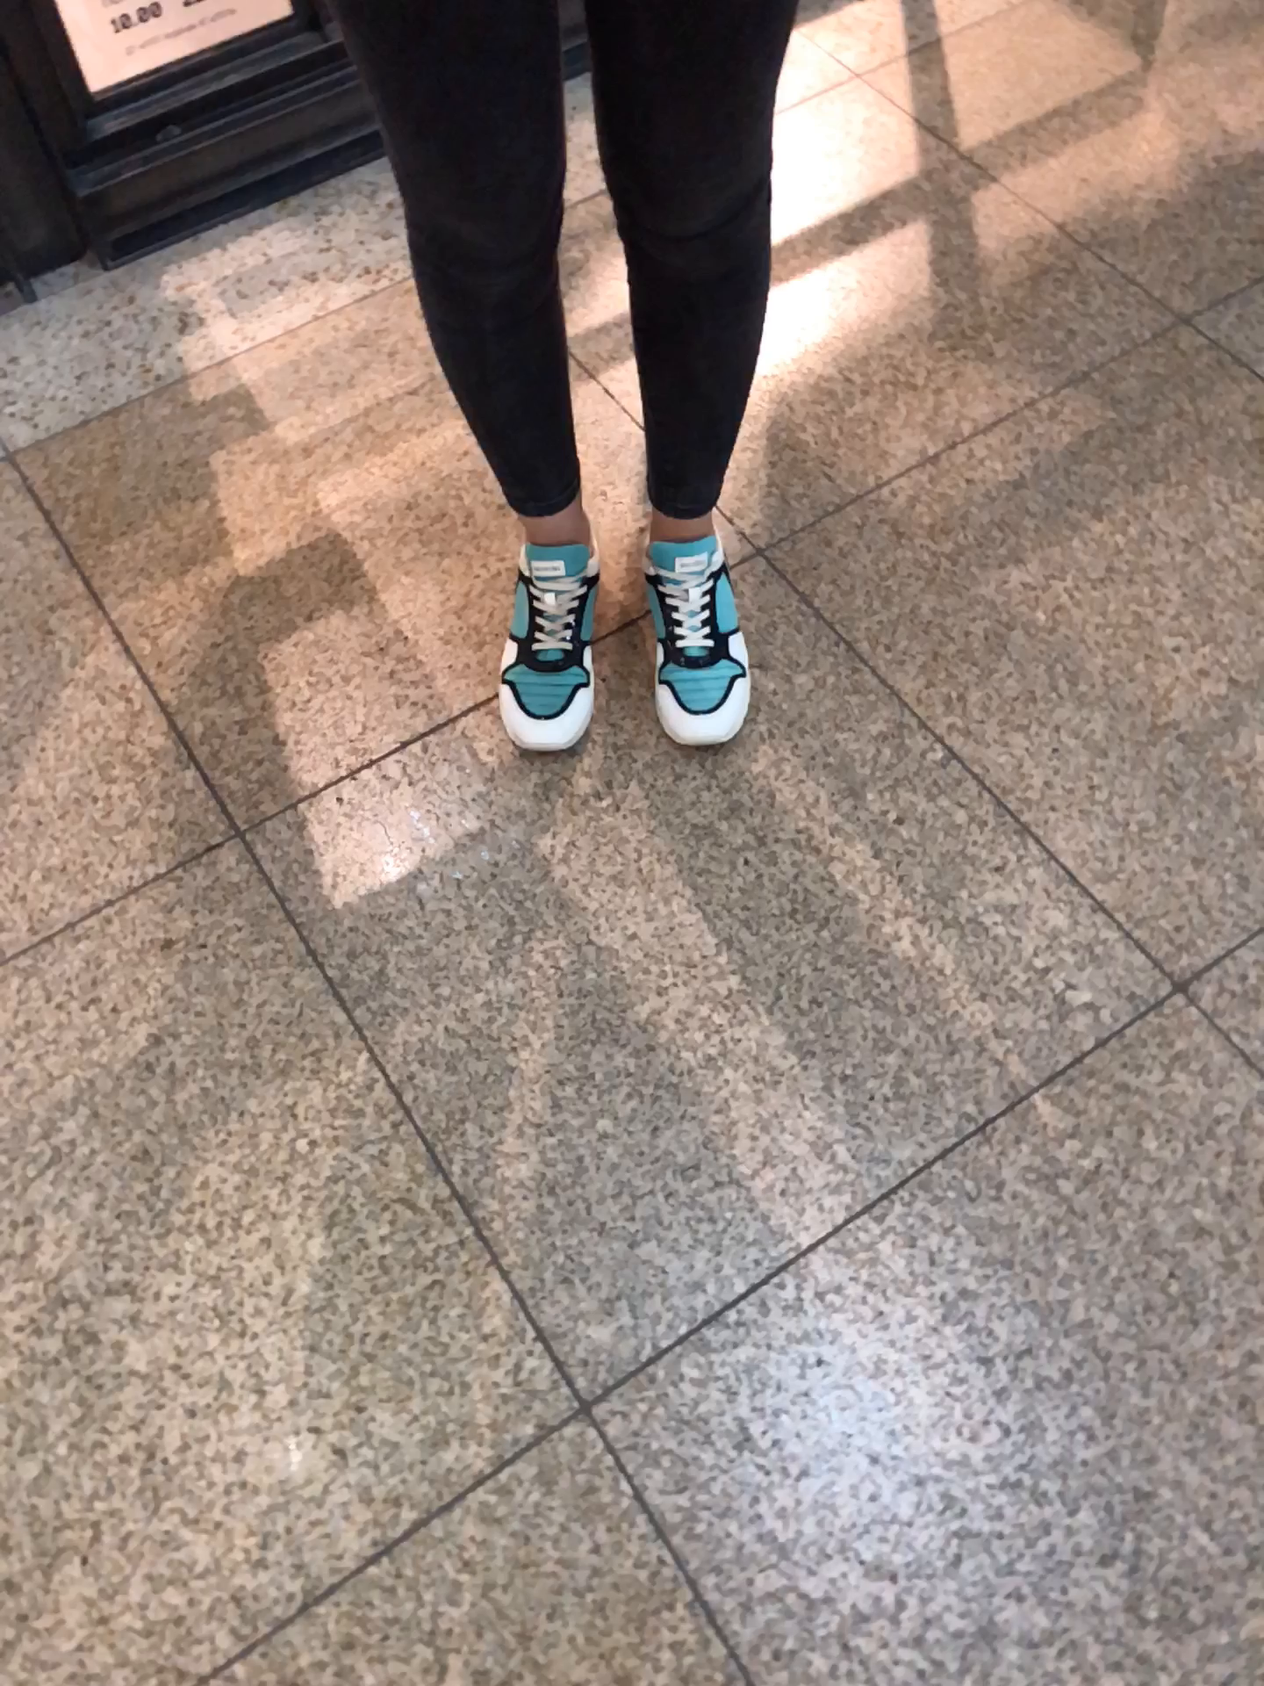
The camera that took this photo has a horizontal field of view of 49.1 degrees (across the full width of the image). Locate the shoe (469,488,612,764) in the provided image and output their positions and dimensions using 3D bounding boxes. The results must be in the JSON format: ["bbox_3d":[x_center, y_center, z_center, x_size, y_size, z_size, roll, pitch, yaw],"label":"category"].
[{"bbox_3d":[-0.078,-0.200,1.266,0.107,0.100,0.241,0,59,3],"label":"shoe"}]

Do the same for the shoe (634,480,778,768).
[{"bbox_3d":[0.065,-0.204,1.276,0.110,0.100,0.251,-4,59,1],"label":"shoe"}]
